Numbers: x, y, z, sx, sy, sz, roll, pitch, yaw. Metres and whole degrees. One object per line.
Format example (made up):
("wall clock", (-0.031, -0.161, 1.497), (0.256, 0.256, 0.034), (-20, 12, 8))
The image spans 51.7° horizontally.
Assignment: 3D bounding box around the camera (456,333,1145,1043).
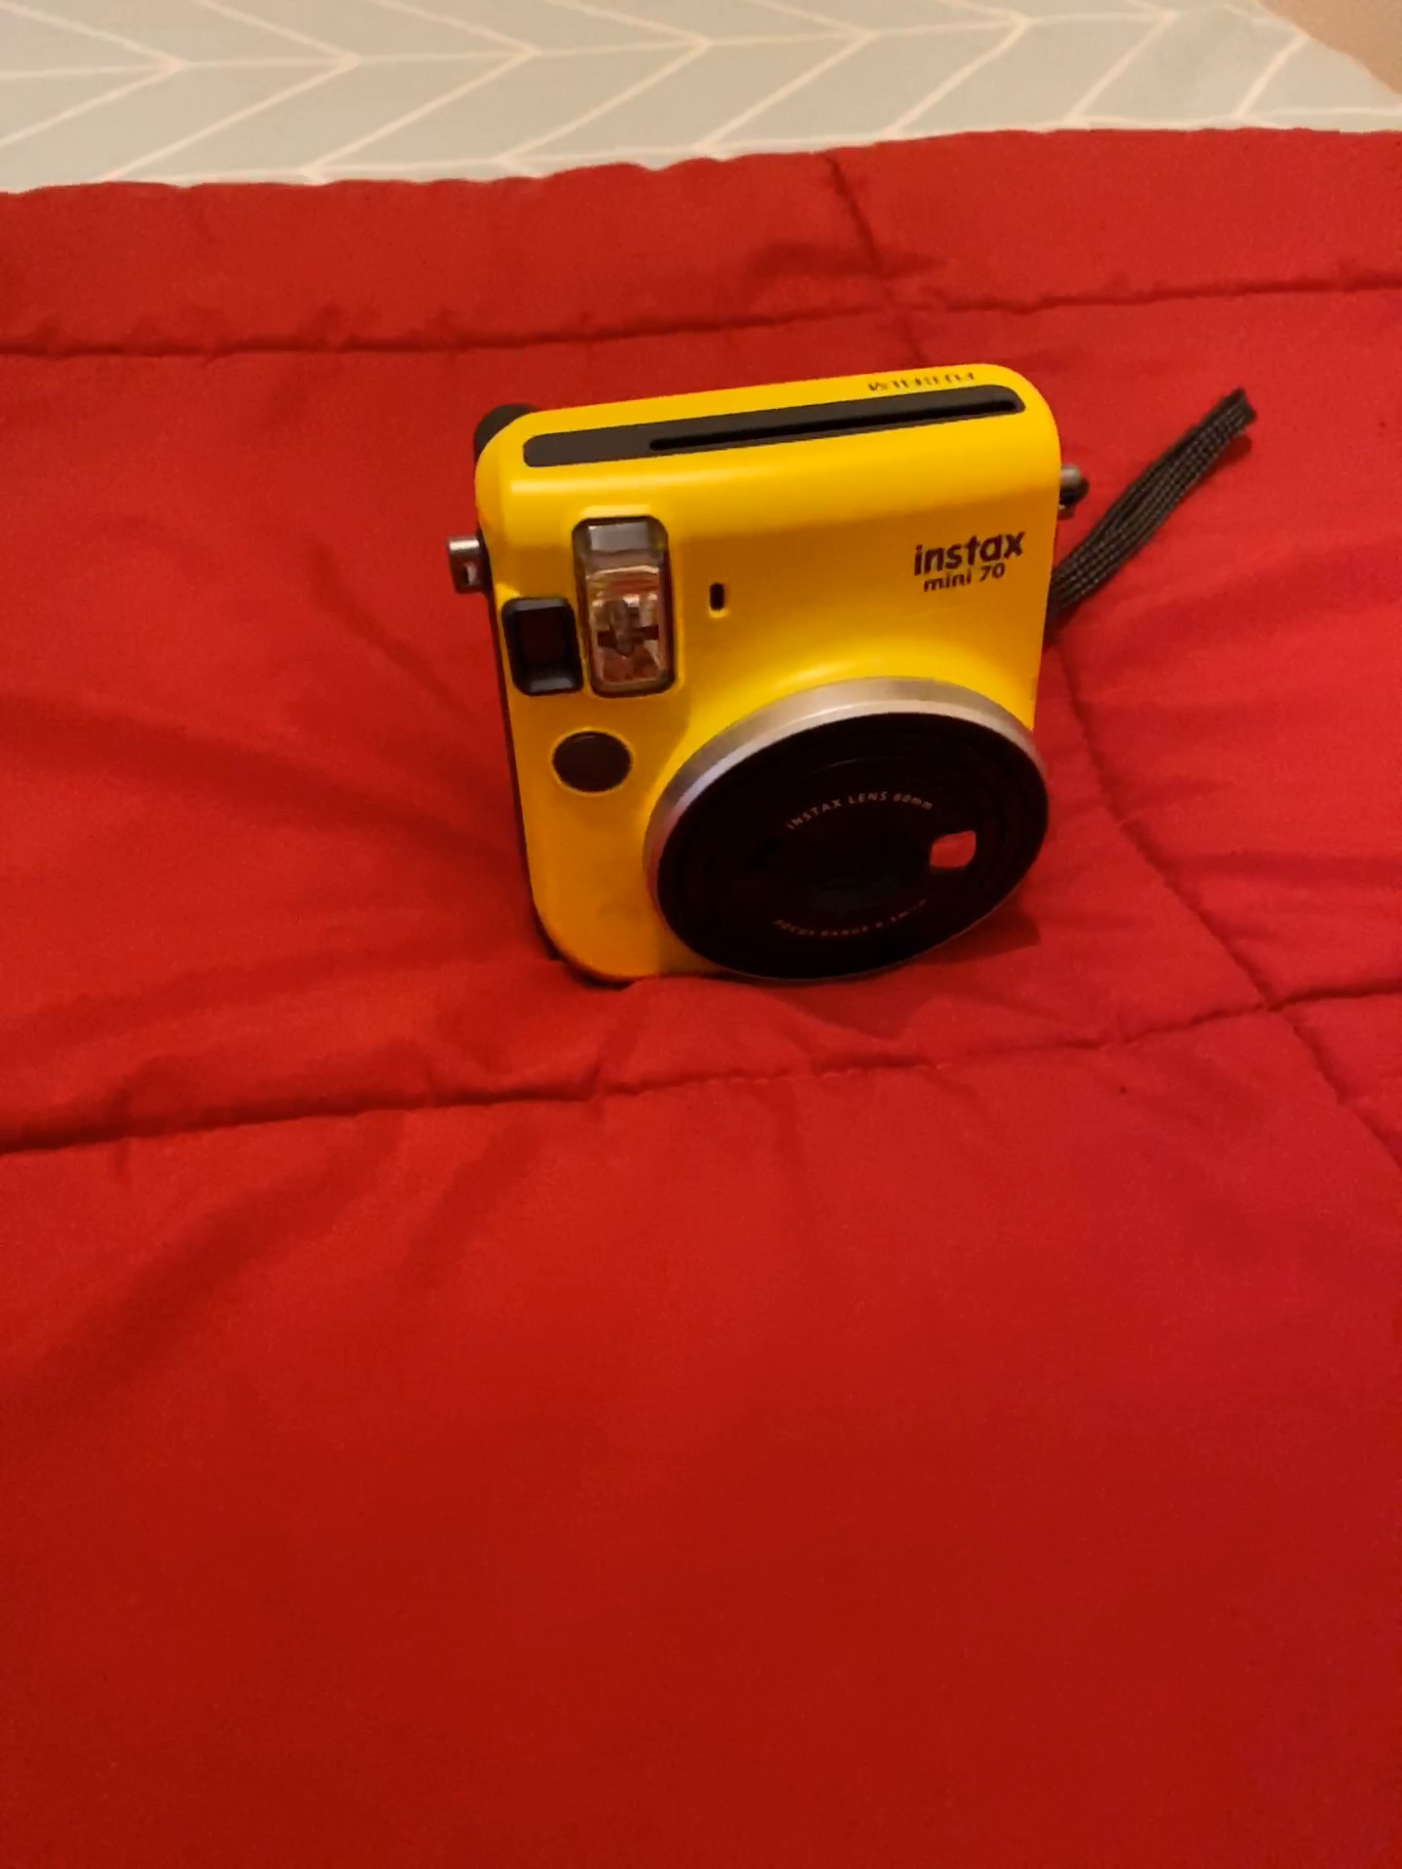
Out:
("camera", (0.012, -0.040, 0.259), (0.095, 0.103, 0.057), (-7, 49, -6))
